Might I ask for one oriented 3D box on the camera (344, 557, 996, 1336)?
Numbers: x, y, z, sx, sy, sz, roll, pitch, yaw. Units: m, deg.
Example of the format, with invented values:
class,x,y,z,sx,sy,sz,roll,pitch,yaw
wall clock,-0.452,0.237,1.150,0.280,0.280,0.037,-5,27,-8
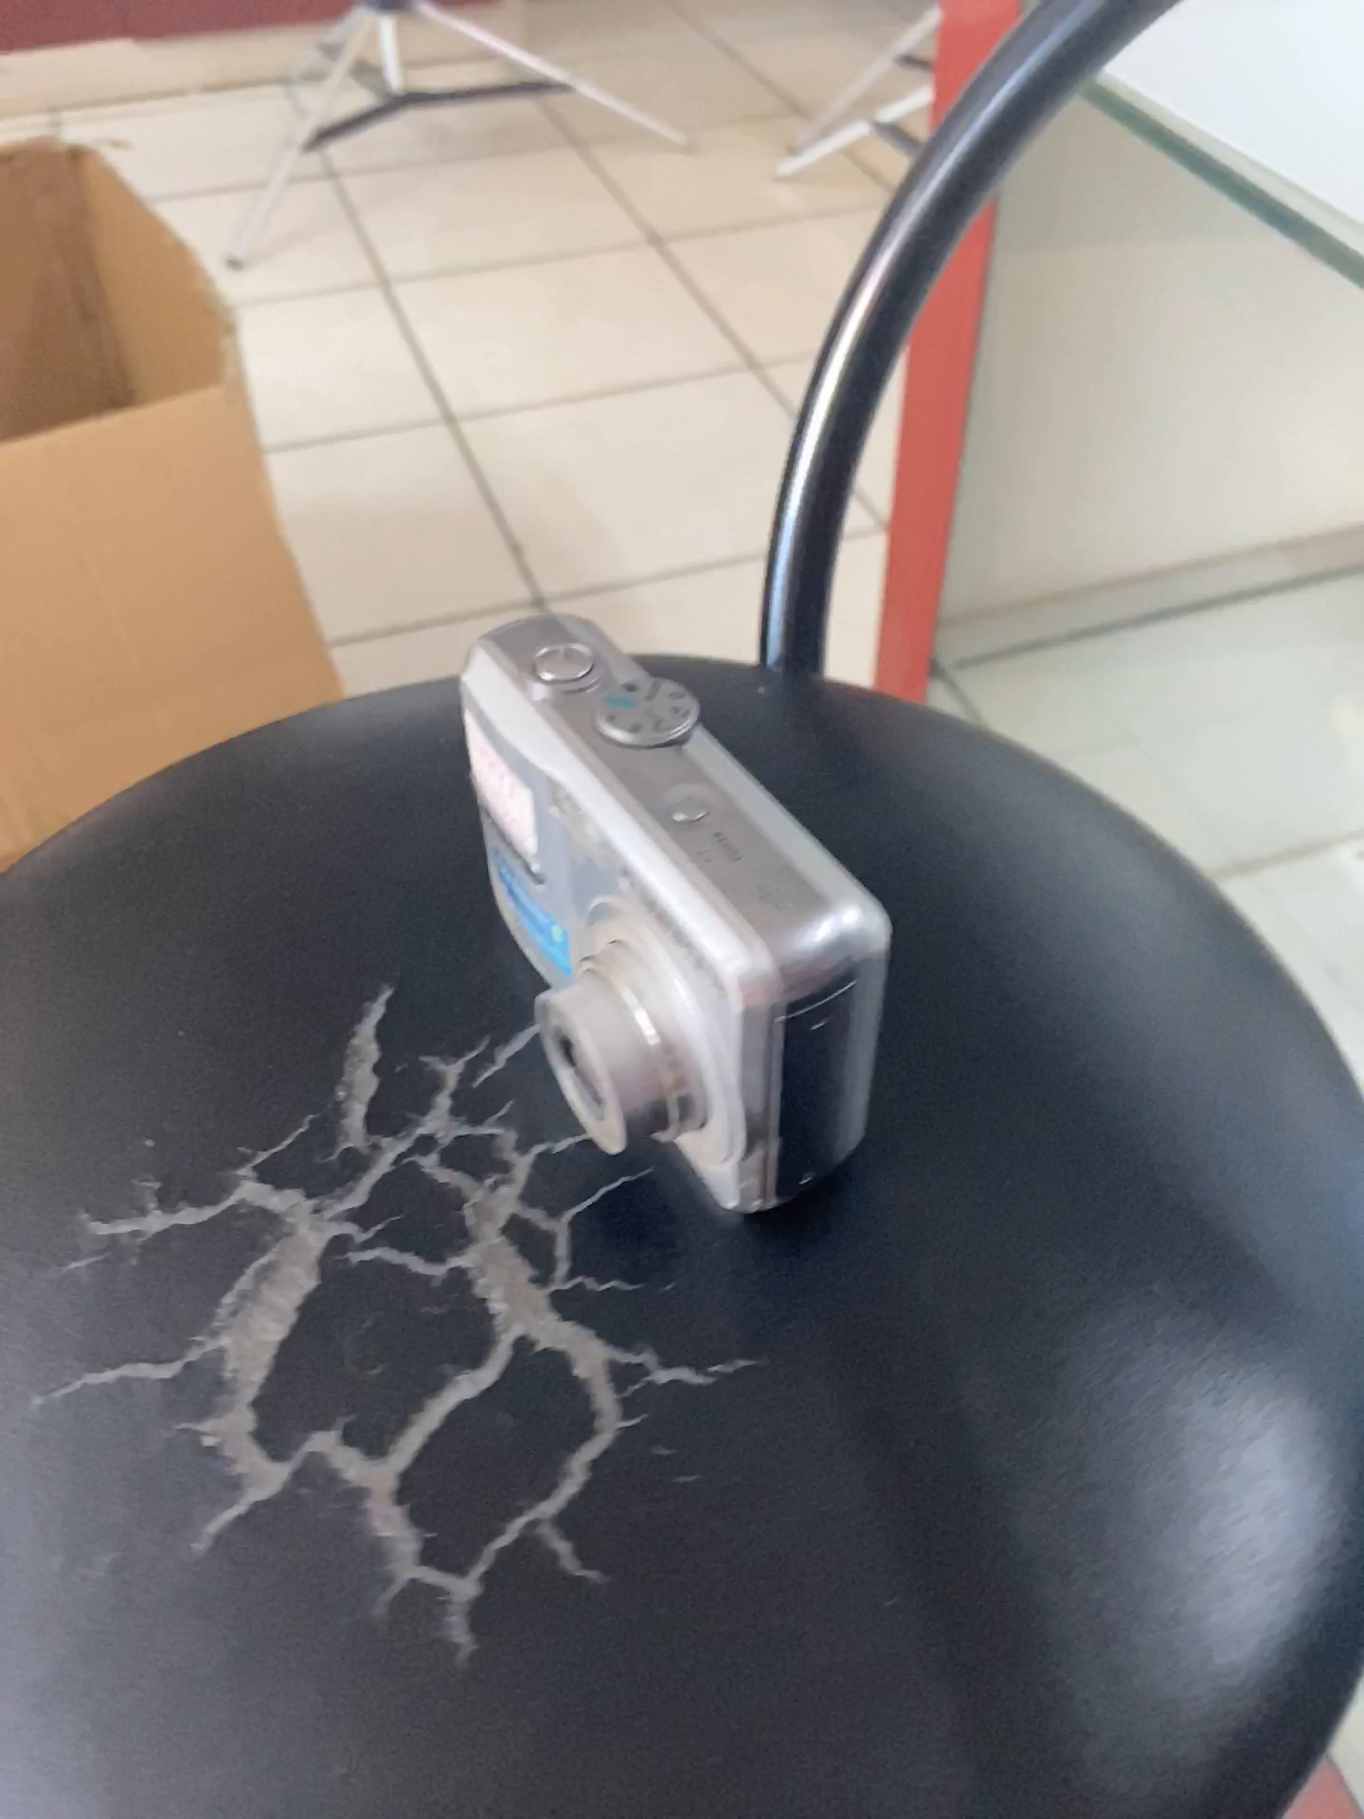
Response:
class,x,y,z,sx,sy,sz,roll,pitch,yaw
camera,-0.006,0.001,0.226,0.050,0.060,0.100,-23,51,-20
